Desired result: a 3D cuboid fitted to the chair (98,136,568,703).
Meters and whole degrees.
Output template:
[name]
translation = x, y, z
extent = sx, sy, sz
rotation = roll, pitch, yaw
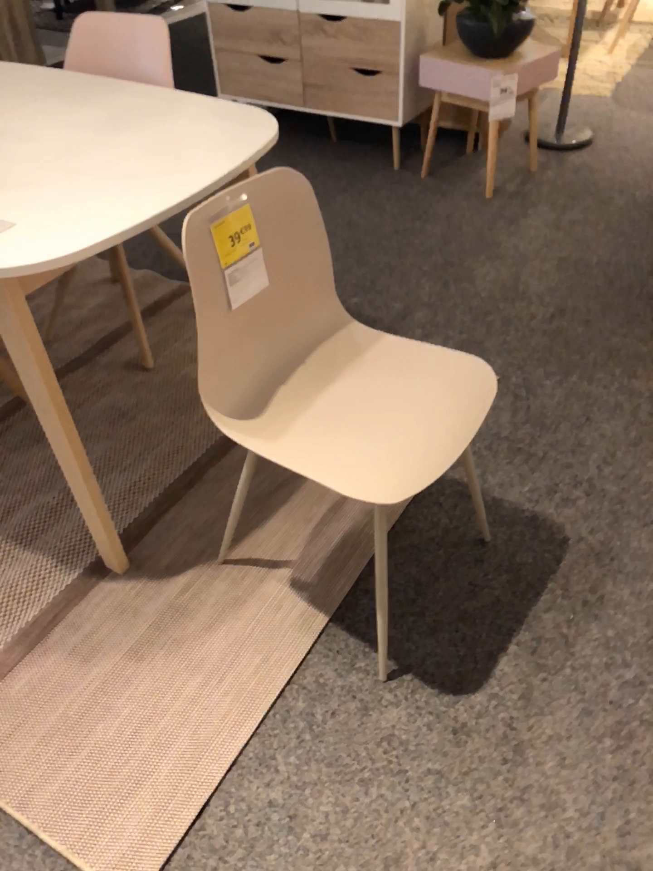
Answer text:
[chair]
translation = 0.039, -0.033, 1.316
extent = 0.500, 0.766, 0.503
rotation = 22, 47, 26
